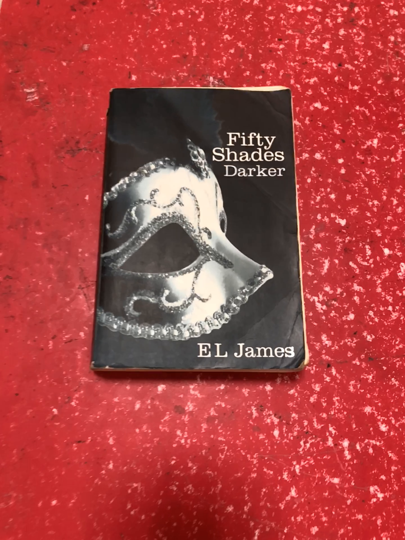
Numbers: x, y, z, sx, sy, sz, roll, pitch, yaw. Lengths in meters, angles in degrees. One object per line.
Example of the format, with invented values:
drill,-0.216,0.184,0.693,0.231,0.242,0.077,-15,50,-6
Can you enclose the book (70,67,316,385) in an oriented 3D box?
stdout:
book,-0.004,-0.031,0.308,0.140,0.050,0.210,1,75,1
